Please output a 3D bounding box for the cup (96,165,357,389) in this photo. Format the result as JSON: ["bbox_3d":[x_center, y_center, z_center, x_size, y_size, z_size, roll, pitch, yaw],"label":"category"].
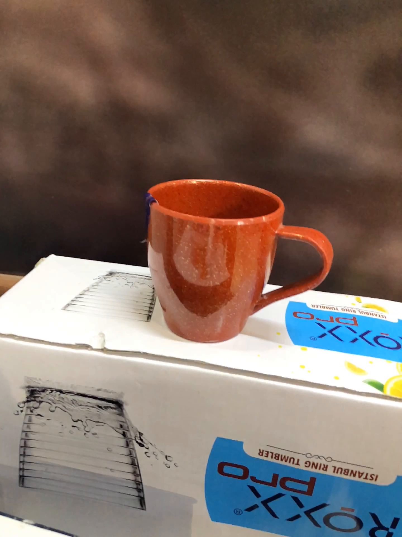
[{"bbox_3d":[0.014,-0.004,0.217,0.100,0.070,0.070,11,25,21],"label":"cup"}]
